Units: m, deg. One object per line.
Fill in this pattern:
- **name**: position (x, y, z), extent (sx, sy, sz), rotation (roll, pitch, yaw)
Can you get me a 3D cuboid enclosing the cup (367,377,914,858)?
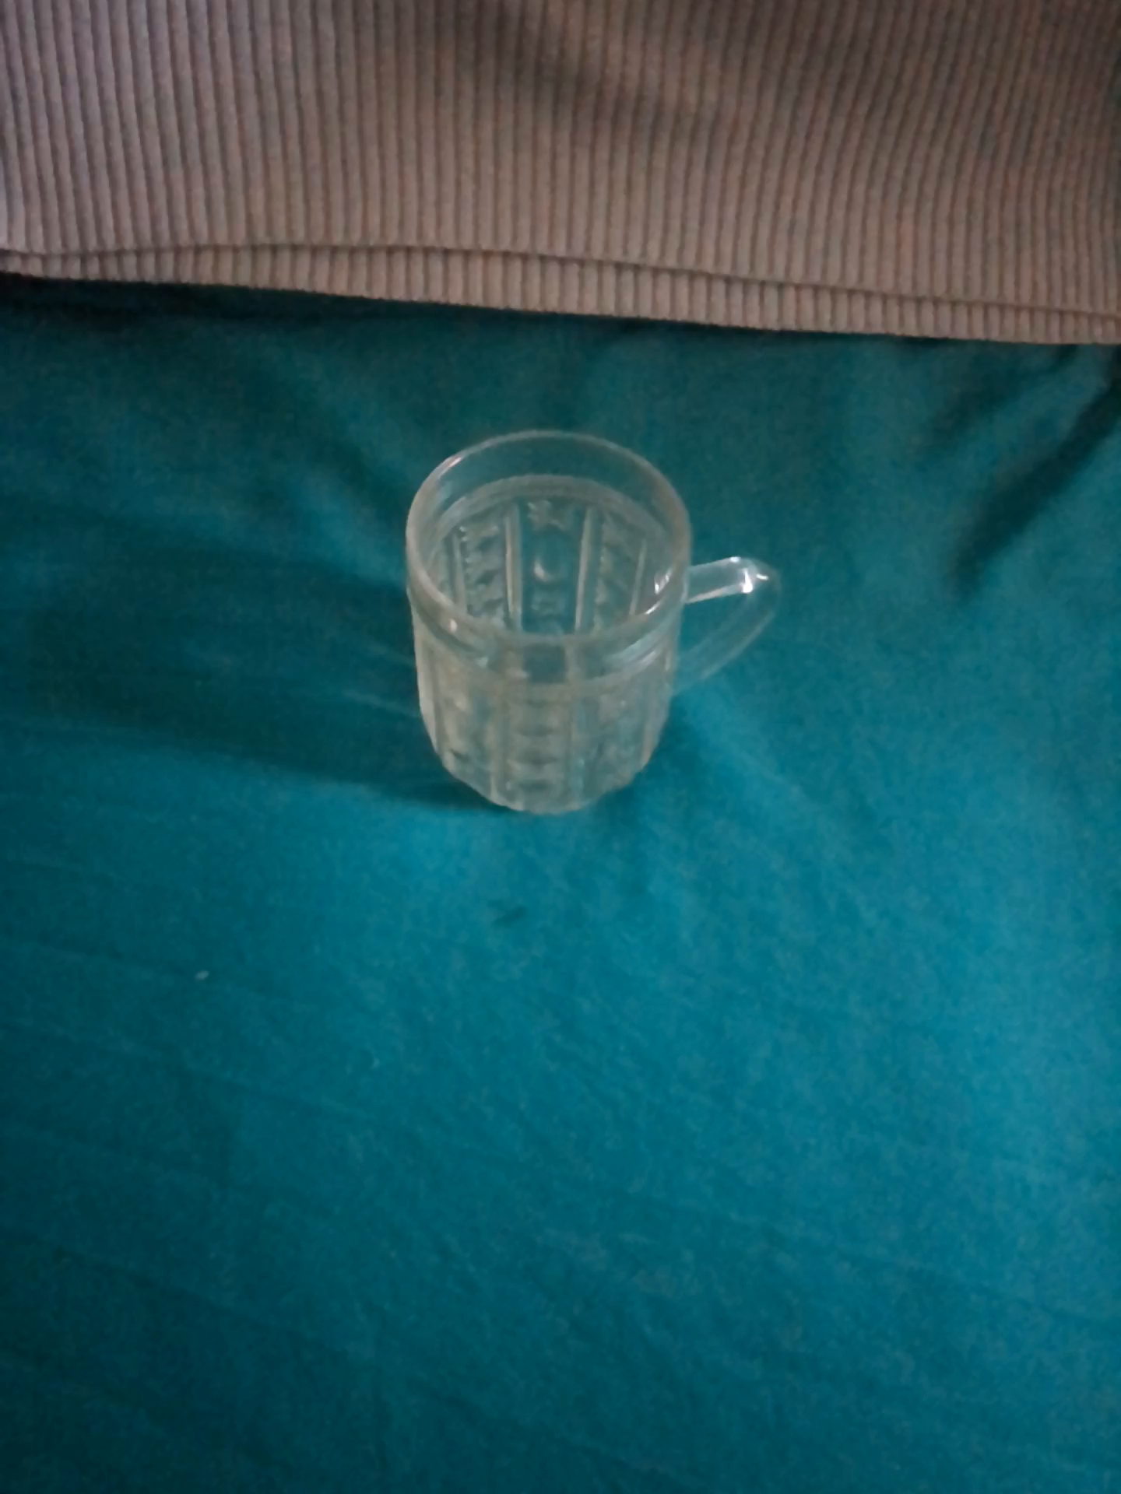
- **cup**: position (0.014, -0.030, 0.305), extent (0.104, 0.076, 0.064), rotation (-15, 64, -12)
